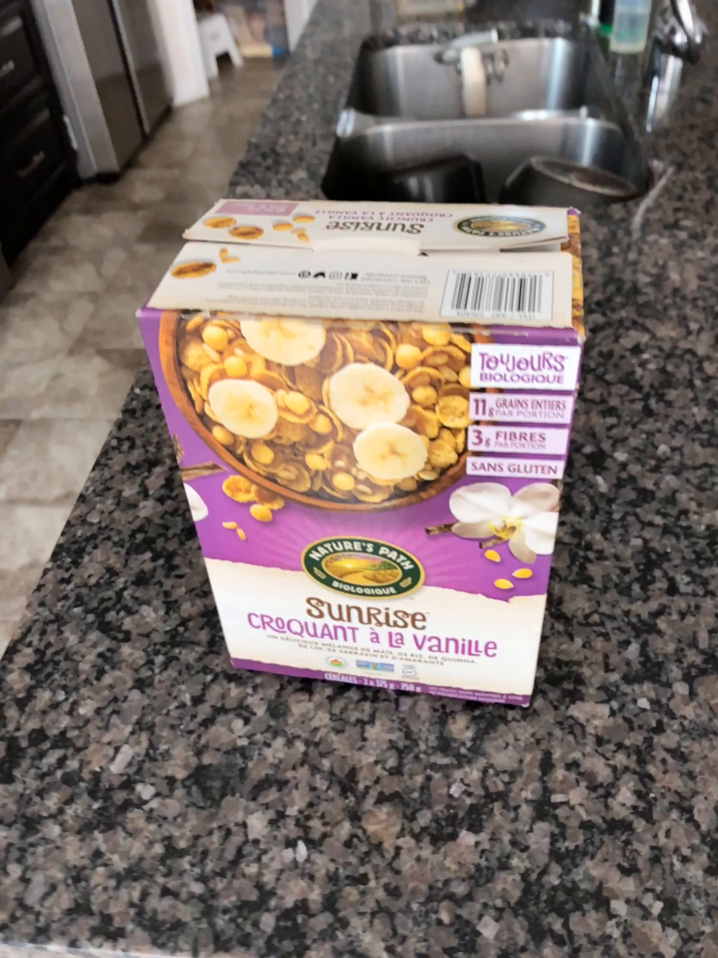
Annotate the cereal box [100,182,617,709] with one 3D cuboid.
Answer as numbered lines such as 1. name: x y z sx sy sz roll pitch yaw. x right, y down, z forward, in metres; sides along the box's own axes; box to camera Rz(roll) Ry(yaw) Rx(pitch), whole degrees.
1. cereal box: 0.012 -0.009 0.391 0.180 0.229 0.110 4 44 10
